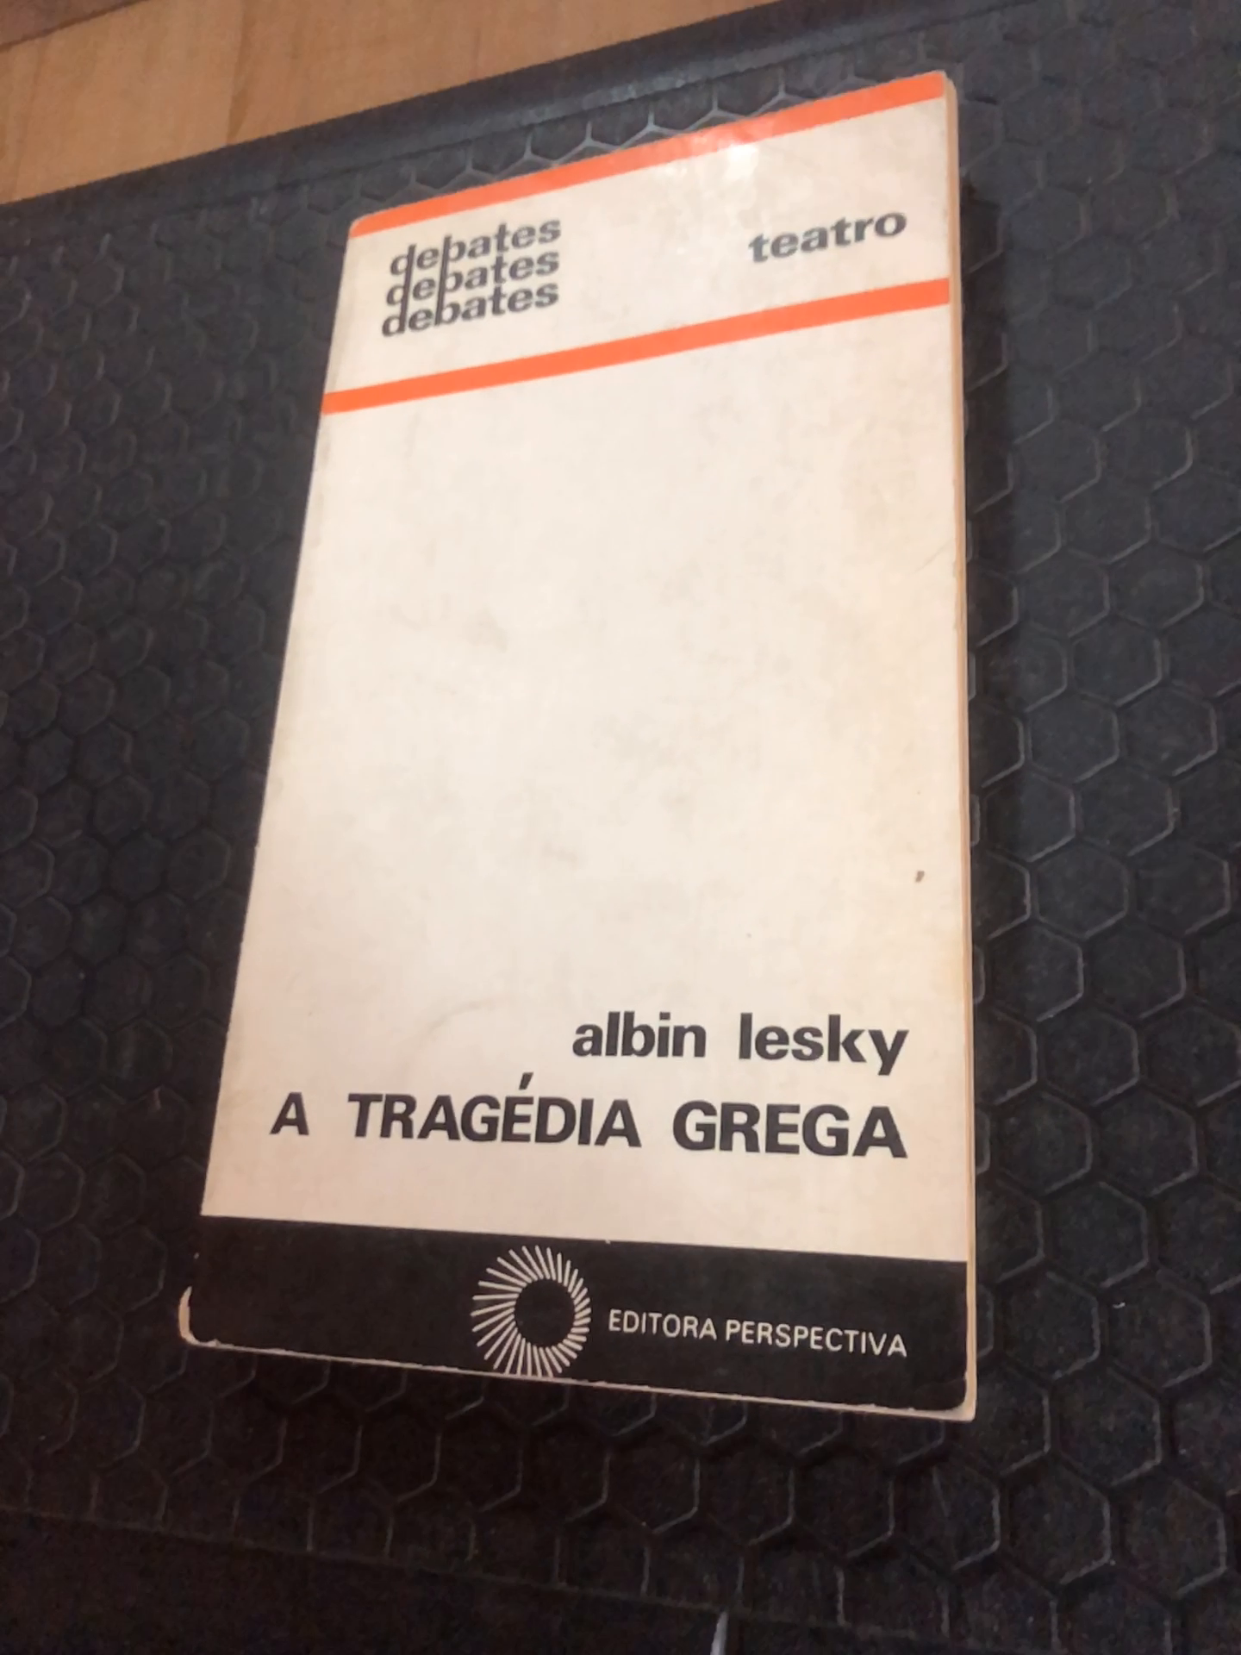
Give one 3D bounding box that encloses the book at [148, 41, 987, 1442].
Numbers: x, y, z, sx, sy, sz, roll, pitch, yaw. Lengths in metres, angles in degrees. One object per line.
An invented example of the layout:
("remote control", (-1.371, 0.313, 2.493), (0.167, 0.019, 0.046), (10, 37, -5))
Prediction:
("book", (-0.004, -0.022, 0.219), (0.114, 0.020, 0.207), (-3, 70, 20))
